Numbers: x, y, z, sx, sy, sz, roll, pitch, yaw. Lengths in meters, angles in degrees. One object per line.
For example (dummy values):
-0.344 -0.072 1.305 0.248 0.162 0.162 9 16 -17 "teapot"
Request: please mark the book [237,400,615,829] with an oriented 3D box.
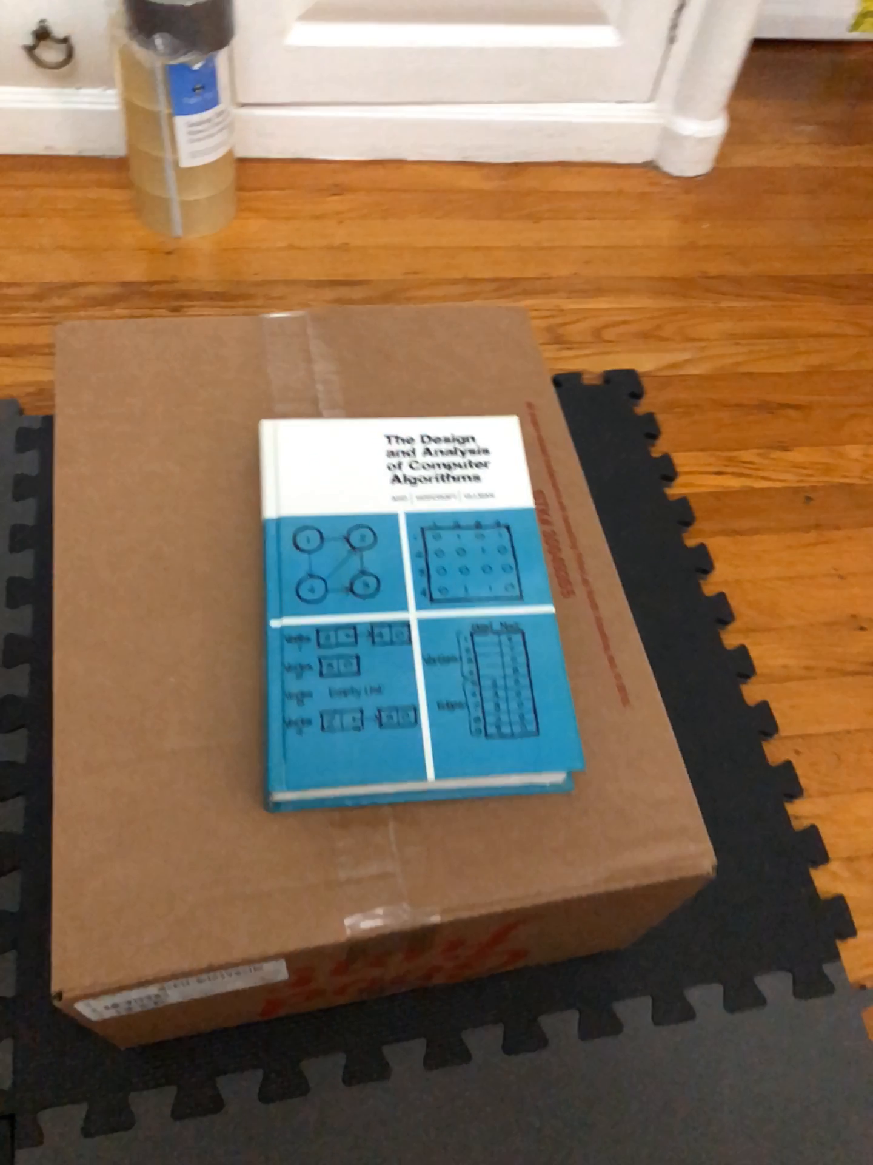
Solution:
-0.017 0.005 0.563 0.190 0.040 0.261 -1 58 -9 "book"
